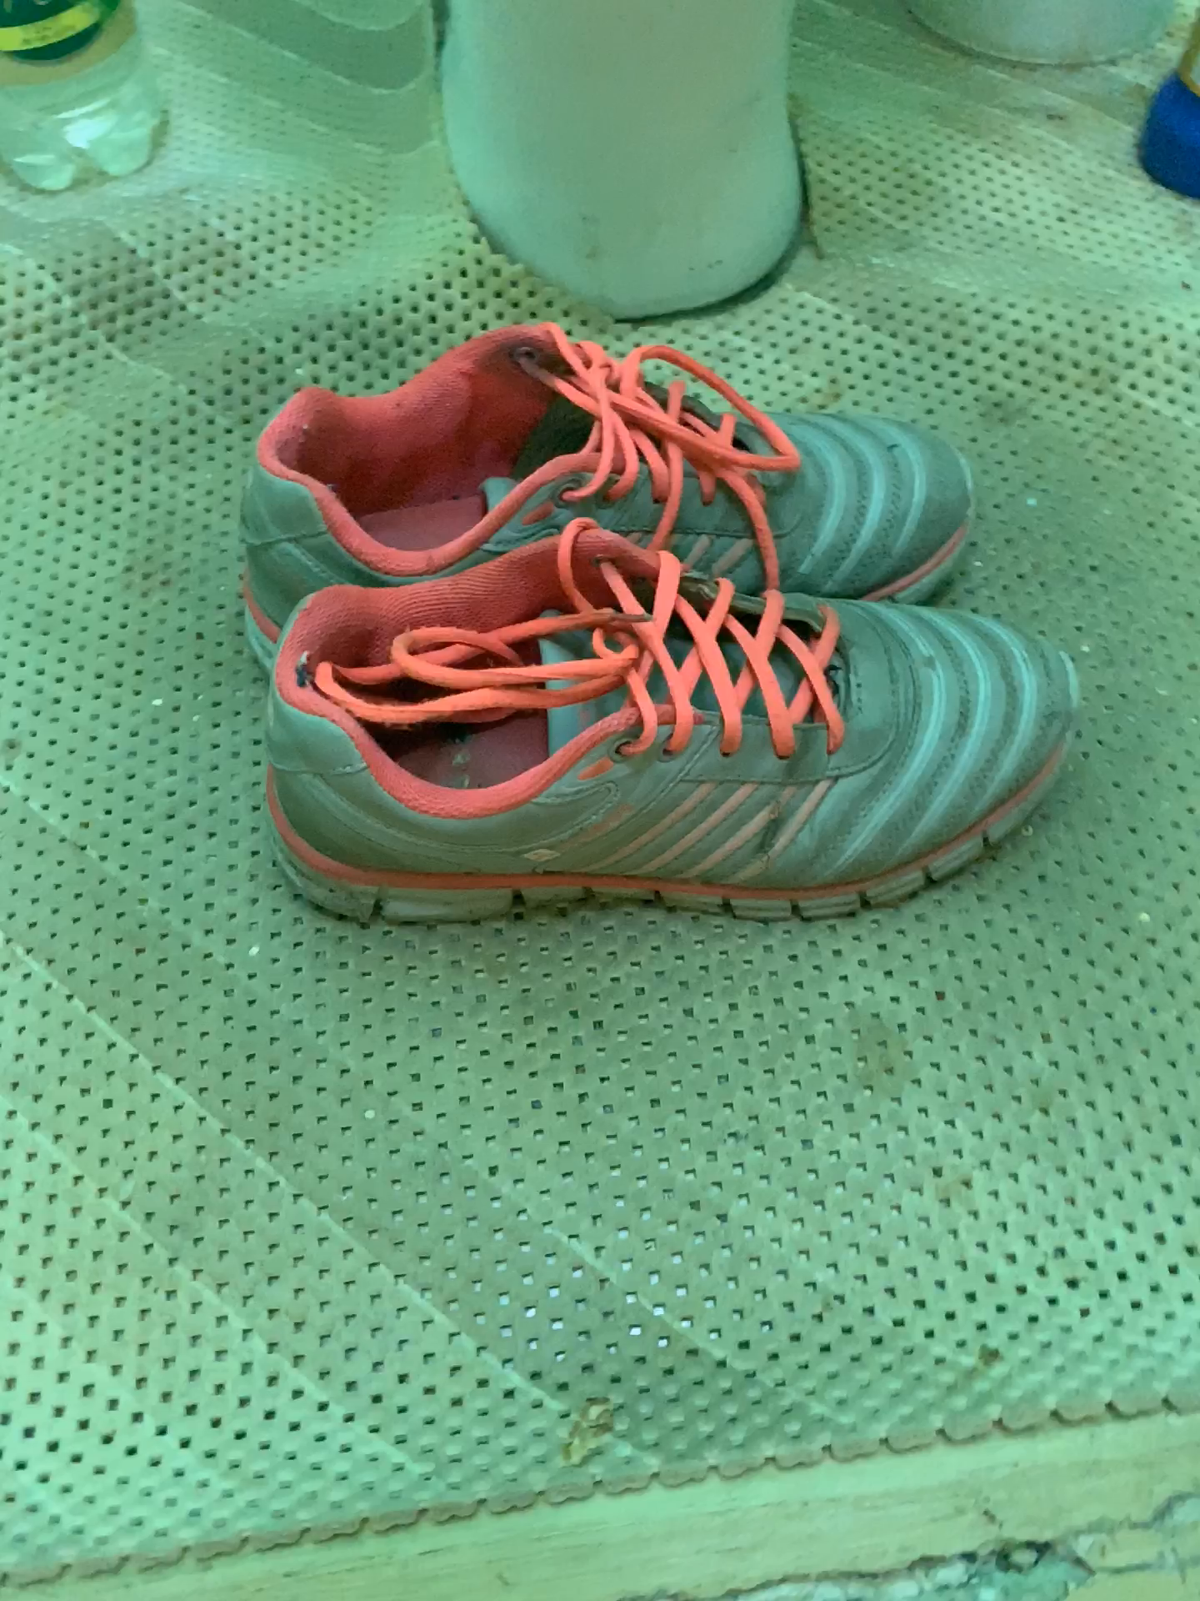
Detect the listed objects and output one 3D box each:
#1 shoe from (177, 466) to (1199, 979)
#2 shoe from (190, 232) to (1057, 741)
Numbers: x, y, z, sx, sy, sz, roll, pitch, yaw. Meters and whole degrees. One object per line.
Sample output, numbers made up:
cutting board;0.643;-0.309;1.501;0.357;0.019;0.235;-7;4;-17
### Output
shoe;0.021;-0.023;0.388;0.268;0.090;0.111;-4;61;-1
shoe;0.003;-0.113;0.446;0.270;0.090;0.111;-9;61;-4
